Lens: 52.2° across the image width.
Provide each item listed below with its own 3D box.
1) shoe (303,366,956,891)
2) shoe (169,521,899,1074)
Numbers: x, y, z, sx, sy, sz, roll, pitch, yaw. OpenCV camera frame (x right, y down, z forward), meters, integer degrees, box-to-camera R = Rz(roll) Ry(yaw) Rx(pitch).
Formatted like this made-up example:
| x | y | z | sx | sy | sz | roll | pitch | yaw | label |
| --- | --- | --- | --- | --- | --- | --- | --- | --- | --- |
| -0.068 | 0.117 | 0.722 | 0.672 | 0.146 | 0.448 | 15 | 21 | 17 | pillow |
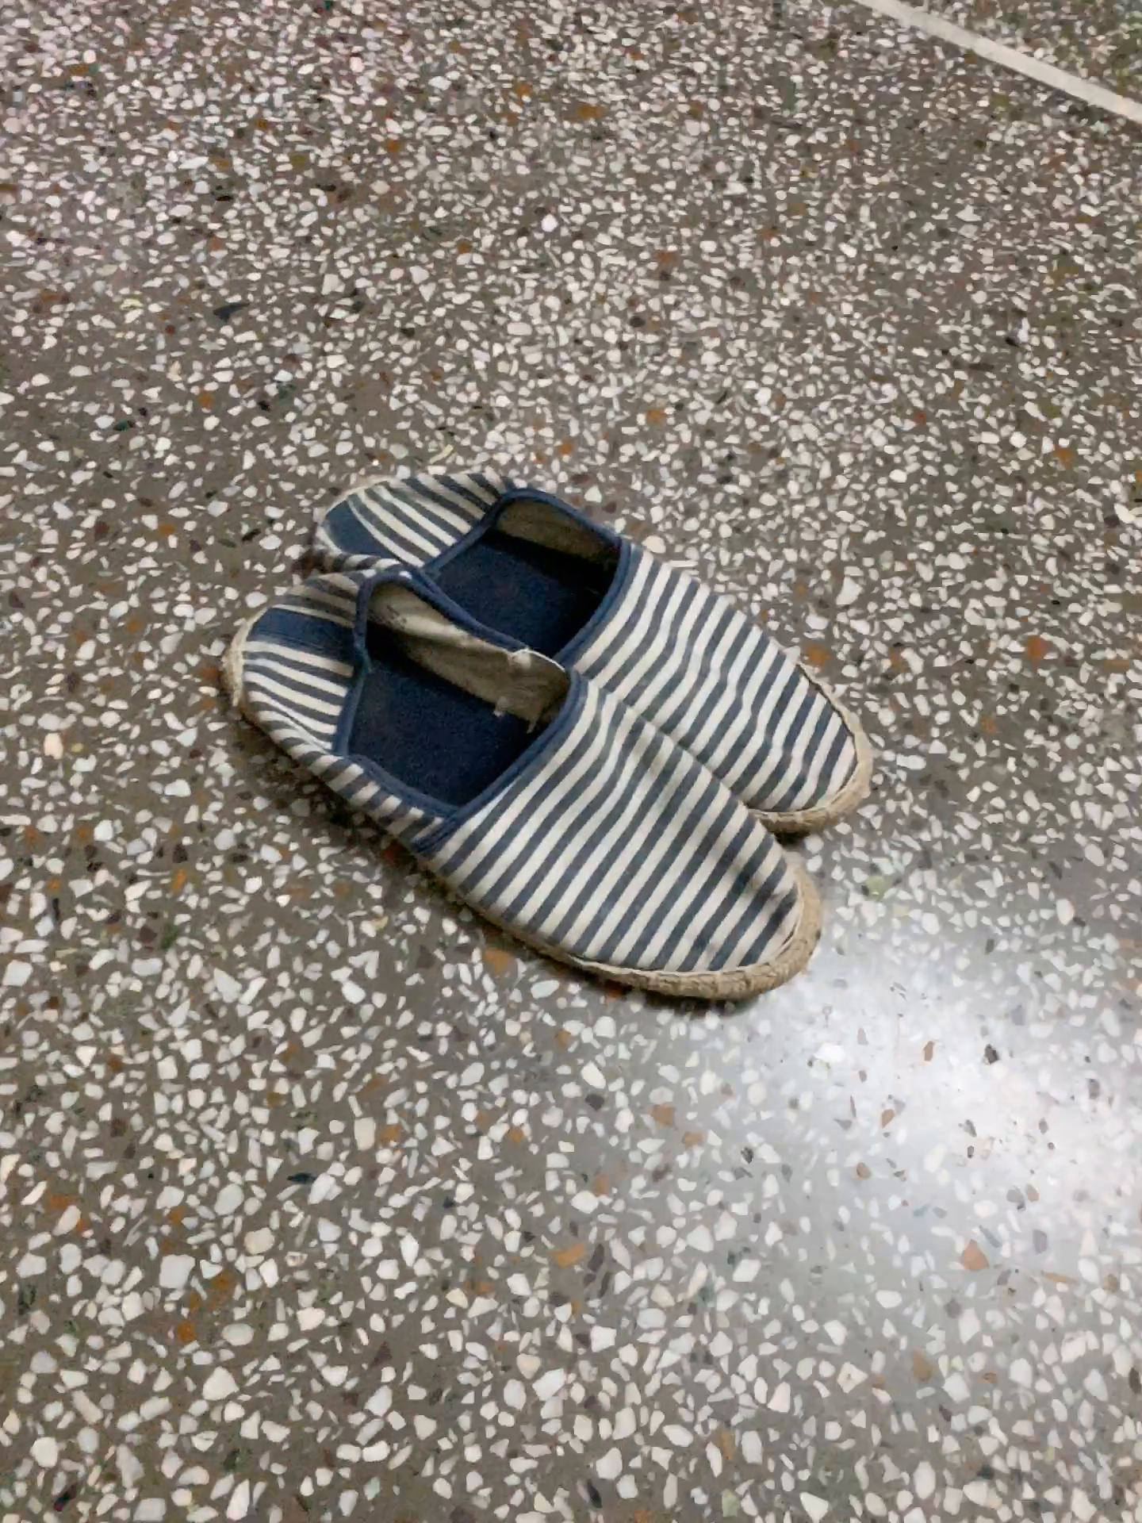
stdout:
| x | y | z | sx | sy | sz | roll | pitch | yaw | label |
| --- | --- | --- | --- | --- | --- | --- | --- | --- | --- |
| 0.024 | -0.066 | 0.549 | 0.290 | 0.050 | 0.100 | 33 | 66 | 7 | shoe |
| -0.016 | 0.013 | 0.502 | 0.290 | 0.050 | 0.100 | 29 | 65 | 5 | shoe |
